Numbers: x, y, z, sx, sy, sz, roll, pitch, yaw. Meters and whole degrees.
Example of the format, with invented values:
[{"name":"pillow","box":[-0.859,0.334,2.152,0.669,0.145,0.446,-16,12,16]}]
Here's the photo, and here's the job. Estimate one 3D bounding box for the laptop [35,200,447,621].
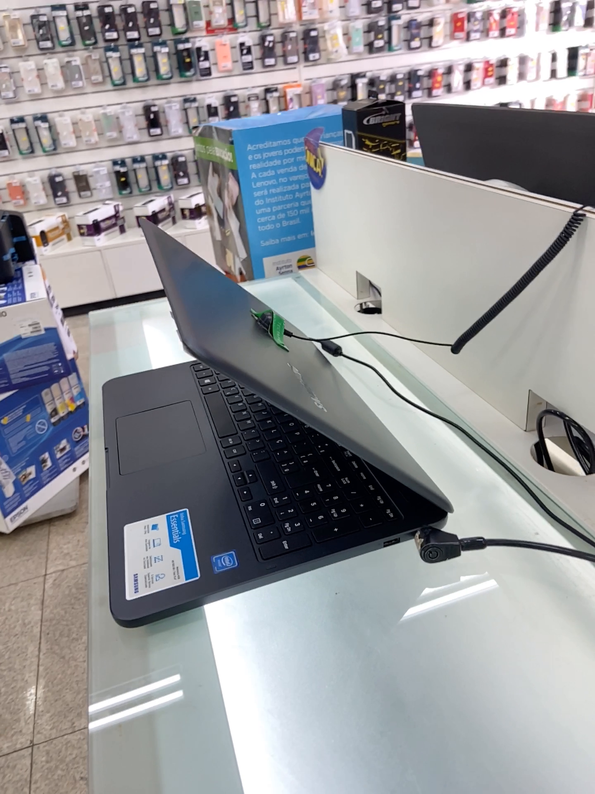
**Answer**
[{"name":"laptop","box":[-0.069,-0.038,0.552,0.245,0.173,0.374,-14,29,-12]}]
